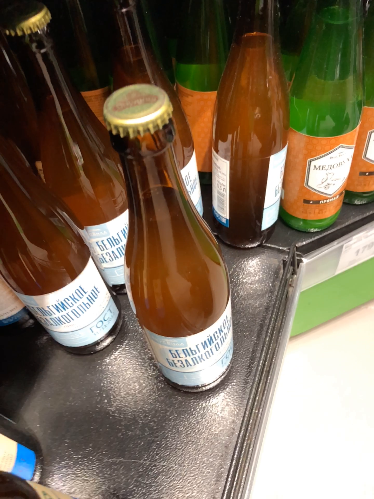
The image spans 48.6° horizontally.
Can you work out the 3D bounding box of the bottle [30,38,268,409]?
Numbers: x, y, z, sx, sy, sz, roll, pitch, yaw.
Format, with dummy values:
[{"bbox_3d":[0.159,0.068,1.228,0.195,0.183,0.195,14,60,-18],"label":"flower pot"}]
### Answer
[{"bbox_3d":[-0.008,0.013,0.279,0.080,0.255,0.080,-3,52,4],"label":"bottle"}]
